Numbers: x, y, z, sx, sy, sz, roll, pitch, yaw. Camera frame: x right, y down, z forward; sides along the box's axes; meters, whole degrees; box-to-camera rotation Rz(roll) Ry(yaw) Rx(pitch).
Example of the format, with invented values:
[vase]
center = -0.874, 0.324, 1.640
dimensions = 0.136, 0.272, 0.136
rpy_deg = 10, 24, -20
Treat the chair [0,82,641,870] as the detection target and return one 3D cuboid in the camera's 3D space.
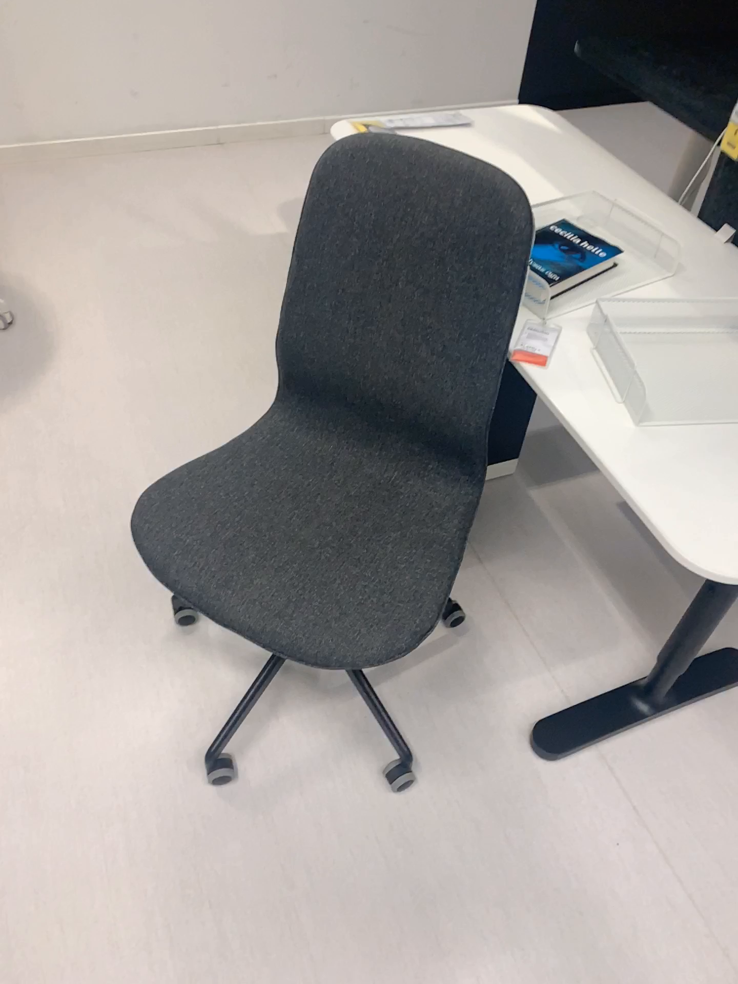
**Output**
[chair]
center = -0.087, 0.011, 1.257
dimensions = 0.631, 0.996, 0.642
rpy_deg = 22, 49, 15
